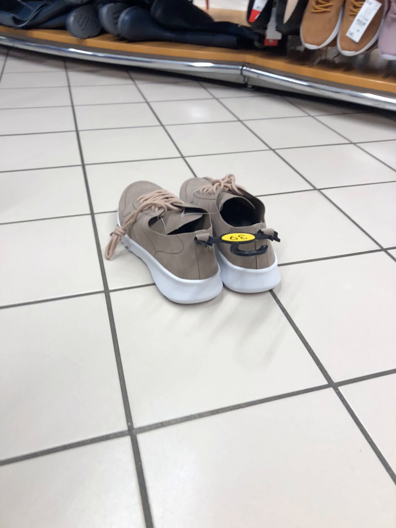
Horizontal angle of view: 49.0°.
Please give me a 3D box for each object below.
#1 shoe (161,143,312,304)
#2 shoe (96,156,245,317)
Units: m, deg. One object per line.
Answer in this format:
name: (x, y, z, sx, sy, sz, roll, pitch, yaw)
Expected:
shoe: (0.036, -0.072, 0.606, 0.100, 0.099, 0.255, -12, 38, -18)
shoe: (-0.050, -0.053, 0.581, 0.100, 0.080, 0.258, -14, 39, -22)
